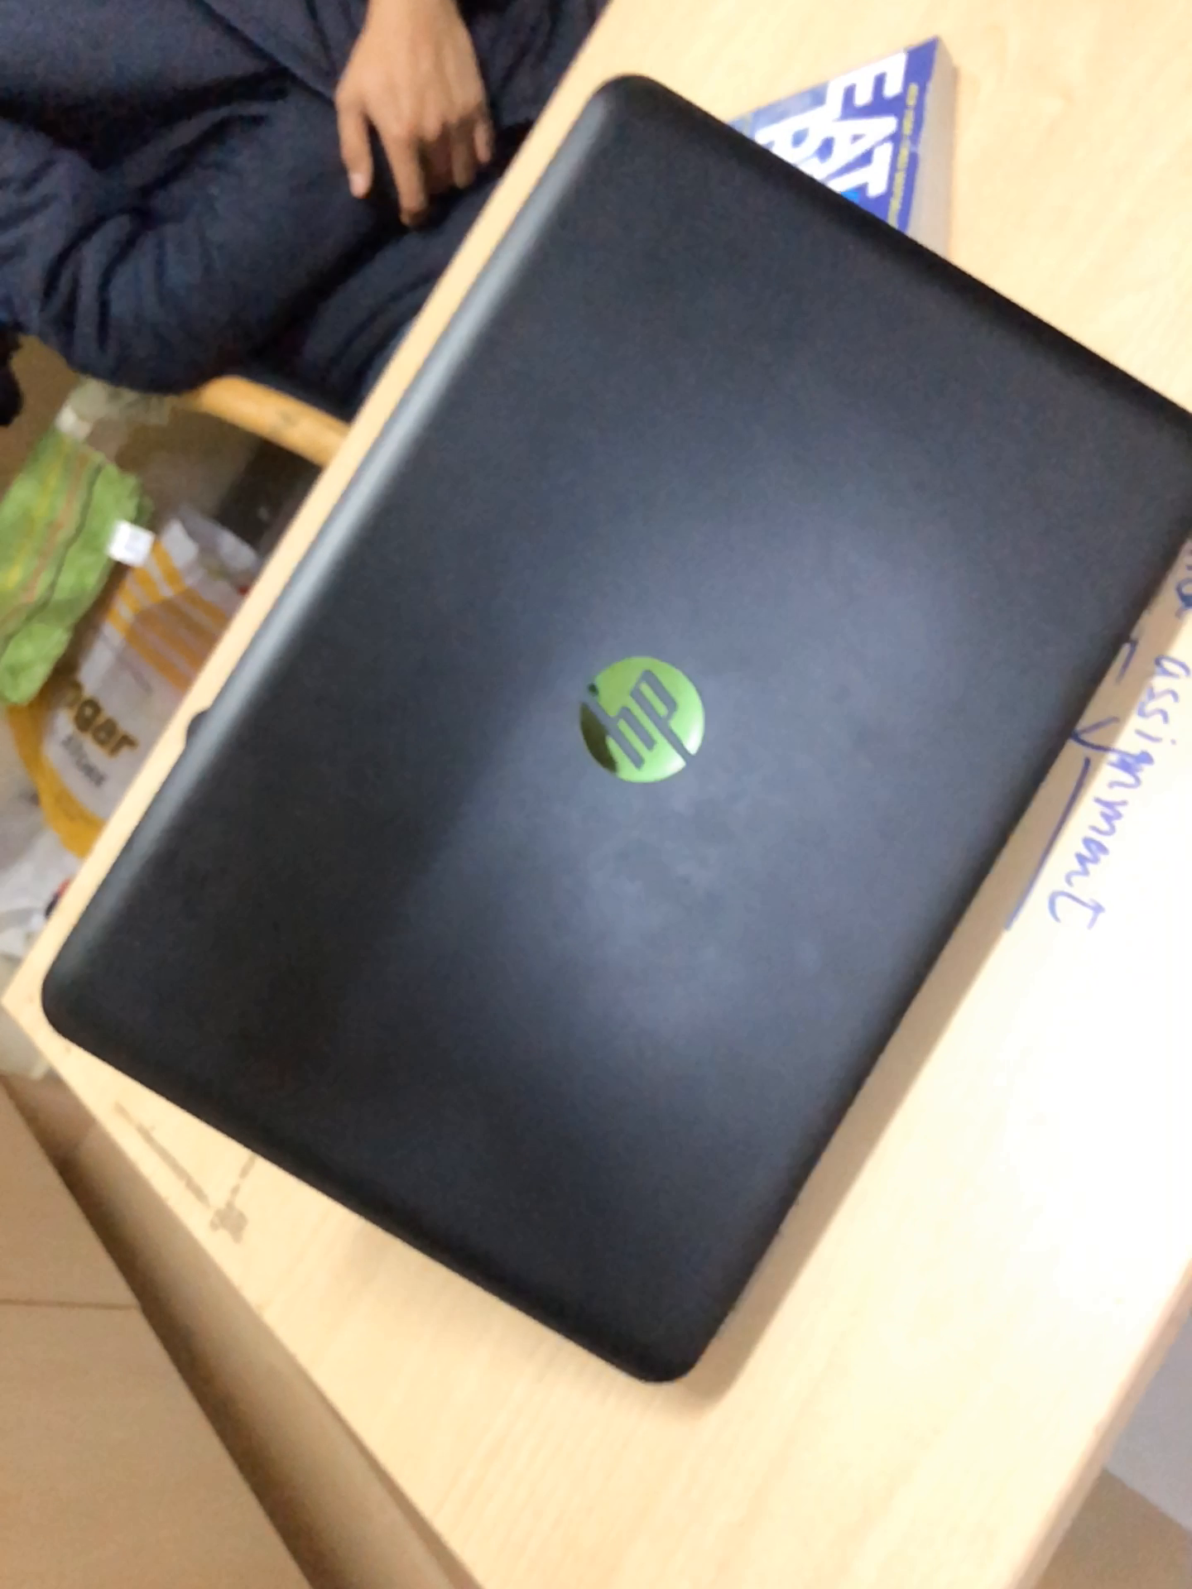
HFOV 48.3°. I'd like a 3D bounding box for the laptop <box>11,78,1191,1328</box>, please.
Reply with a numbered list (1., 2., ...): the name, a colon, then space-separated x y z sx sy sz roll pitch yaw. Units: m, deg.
1. laptop: 0.009 -0.041 0.473 0.231 0.167 0.359 30 87 40
